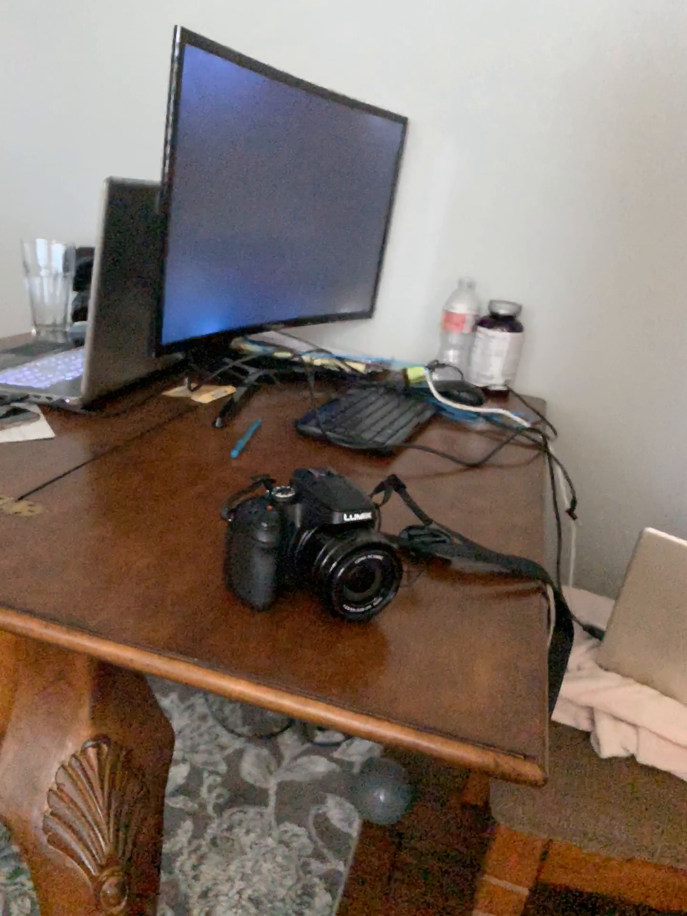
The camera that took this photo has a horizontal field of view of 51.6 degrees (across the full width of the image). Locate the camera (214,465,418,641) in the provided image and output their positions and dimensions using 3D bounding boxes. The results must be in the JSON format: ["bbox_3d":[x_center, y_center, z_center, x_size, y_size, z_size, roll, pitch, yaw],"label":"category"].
[{"bbox_3d":[-0.027,0.073,0.605,0.130,0.089,0.111,-5,23,-30],"label":"camera"}]
